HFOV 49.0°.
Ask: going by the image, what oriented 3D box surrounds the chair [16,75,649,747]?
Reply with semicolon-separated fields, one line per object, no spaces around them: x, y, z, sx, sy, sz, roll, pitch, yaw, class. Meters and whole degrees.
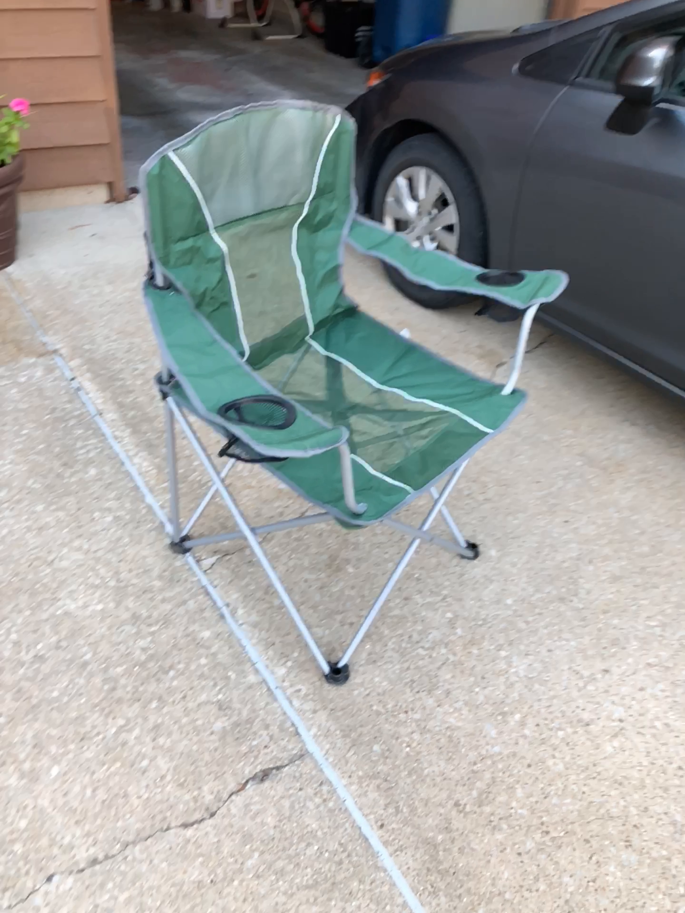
-0.006;-0.157;1.482;0.641;0.907;0.821;30;43;30;chair
